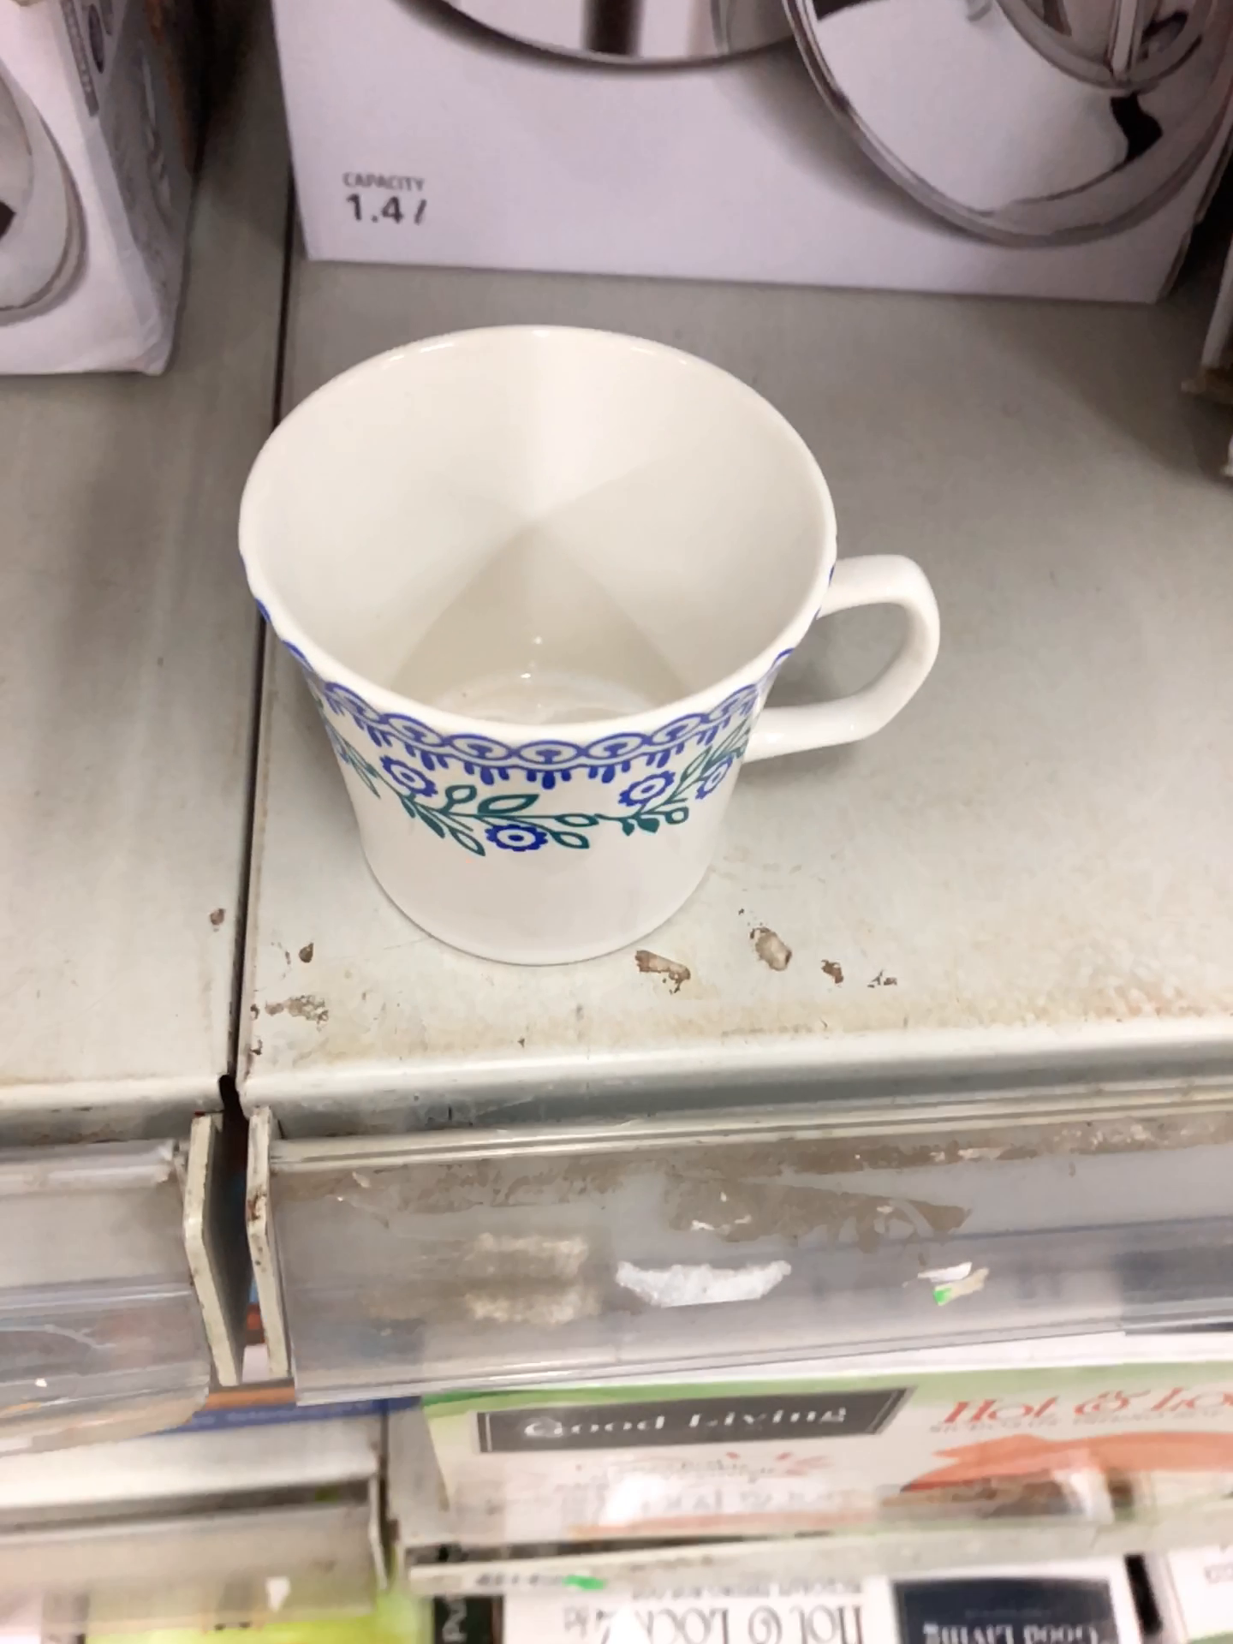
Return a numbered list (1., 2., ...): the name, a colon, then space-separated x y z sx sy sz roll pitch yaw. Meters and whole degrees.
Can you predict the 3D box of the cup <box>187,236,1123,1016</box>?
1. cup: -0.001 -0.027 0.195 0.100 0.070 0.070 -7 56 -9
